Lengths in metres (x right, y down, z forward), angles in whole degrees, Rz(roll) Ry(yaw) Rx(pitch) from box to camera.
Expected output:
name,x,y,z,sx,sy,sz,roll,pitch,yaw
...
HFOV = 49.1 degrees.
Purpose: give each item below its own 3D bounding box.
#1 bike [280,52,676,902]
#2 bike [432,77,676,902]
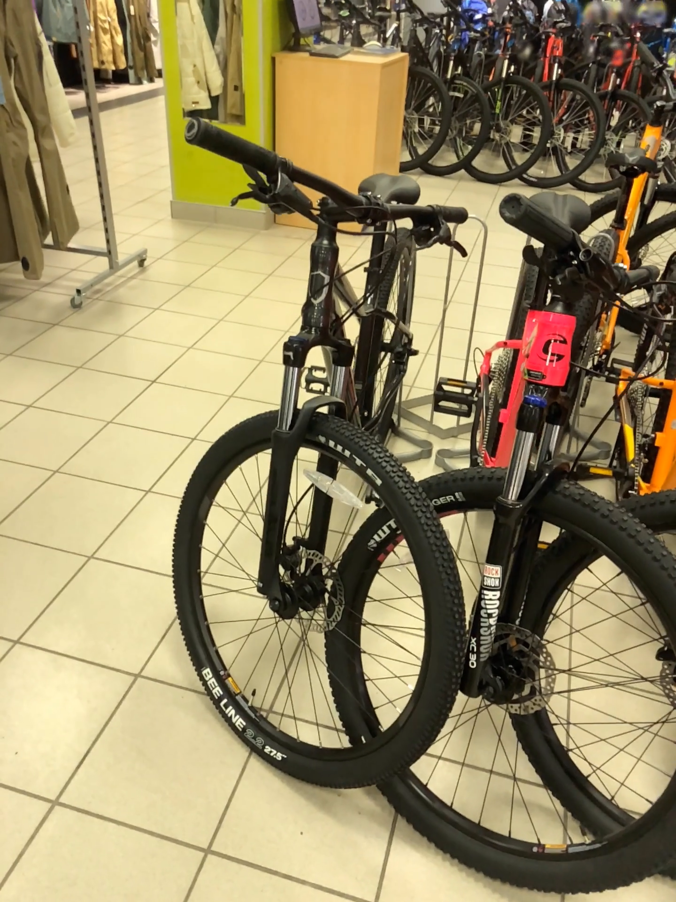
name,x,y,z,sx,sy,sz,roll,pitch,yaw
bike,0.266,-0.178,1.721,0.684,1.101,1.588,4,34,2
bike,0.647,-0.121,1.592,0.653,1.074,1.573,5,31,3
